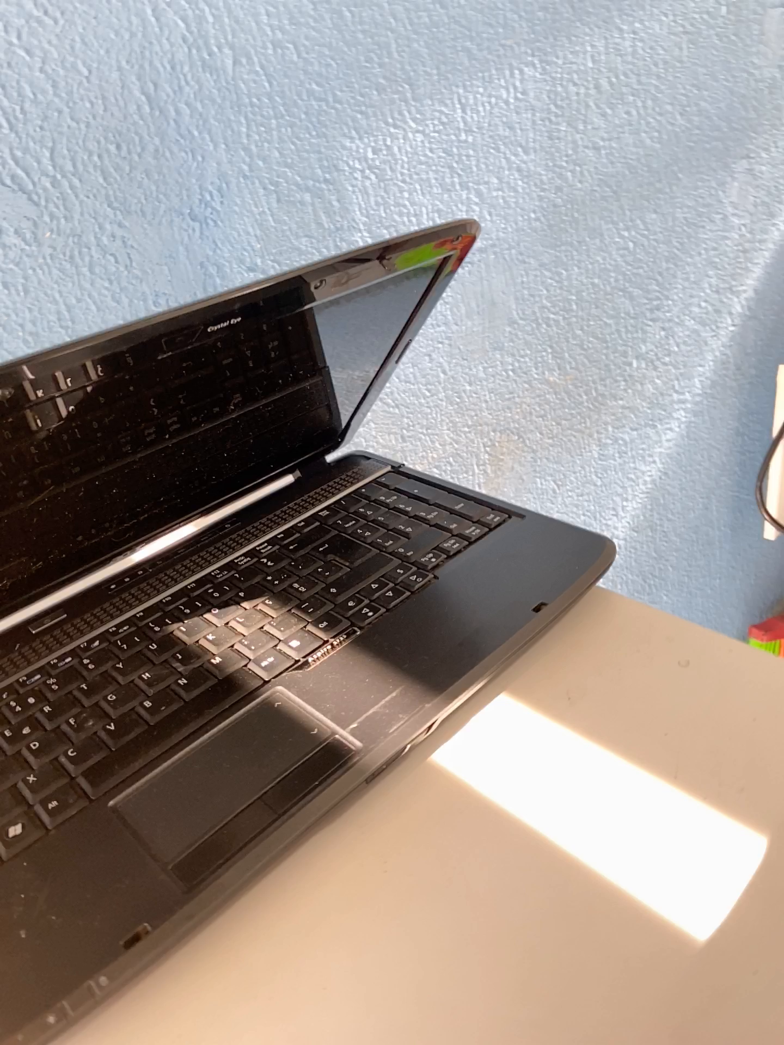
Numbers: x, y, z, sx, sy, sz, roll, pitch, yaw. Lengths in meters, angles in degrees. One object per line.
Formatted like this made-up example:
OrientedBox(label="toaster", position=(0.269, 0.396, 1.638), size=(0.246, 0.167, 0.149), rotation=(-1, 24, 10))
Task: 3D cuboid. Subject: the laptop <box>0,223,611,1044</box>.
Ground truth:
OrientedBox(label="laptop", position=(-0.099, -0.014, 0.395), size=(0.379, 0.174, 0.236), rotation=(-31, 35, -35))
